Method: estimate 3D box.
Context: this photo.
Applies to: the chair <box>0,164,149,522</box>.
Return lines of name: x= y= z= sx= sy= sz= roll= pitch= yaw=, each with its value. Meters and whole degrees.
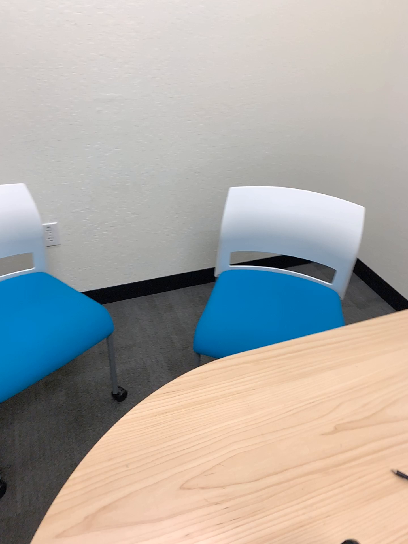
chair: x=-0.669 y=0.172 z=1.425 sx=0.693 sy=0.755 sz=0.641 roll=30 pitch=43 yaw=33

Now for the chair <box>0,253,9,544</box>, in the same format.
chair: x=-0.991 y=0.516 z=0.890 sx=0.692 sy=0.716 sz=0.642 roll=24 pitch=40 yaw=27

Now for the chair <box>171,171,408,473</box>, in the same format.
chair: x=0.329 y=0.151 z=1.589 sx=0.750 sy=0.765 sz=0.694 roll=9 pitch=36 yaw=8
